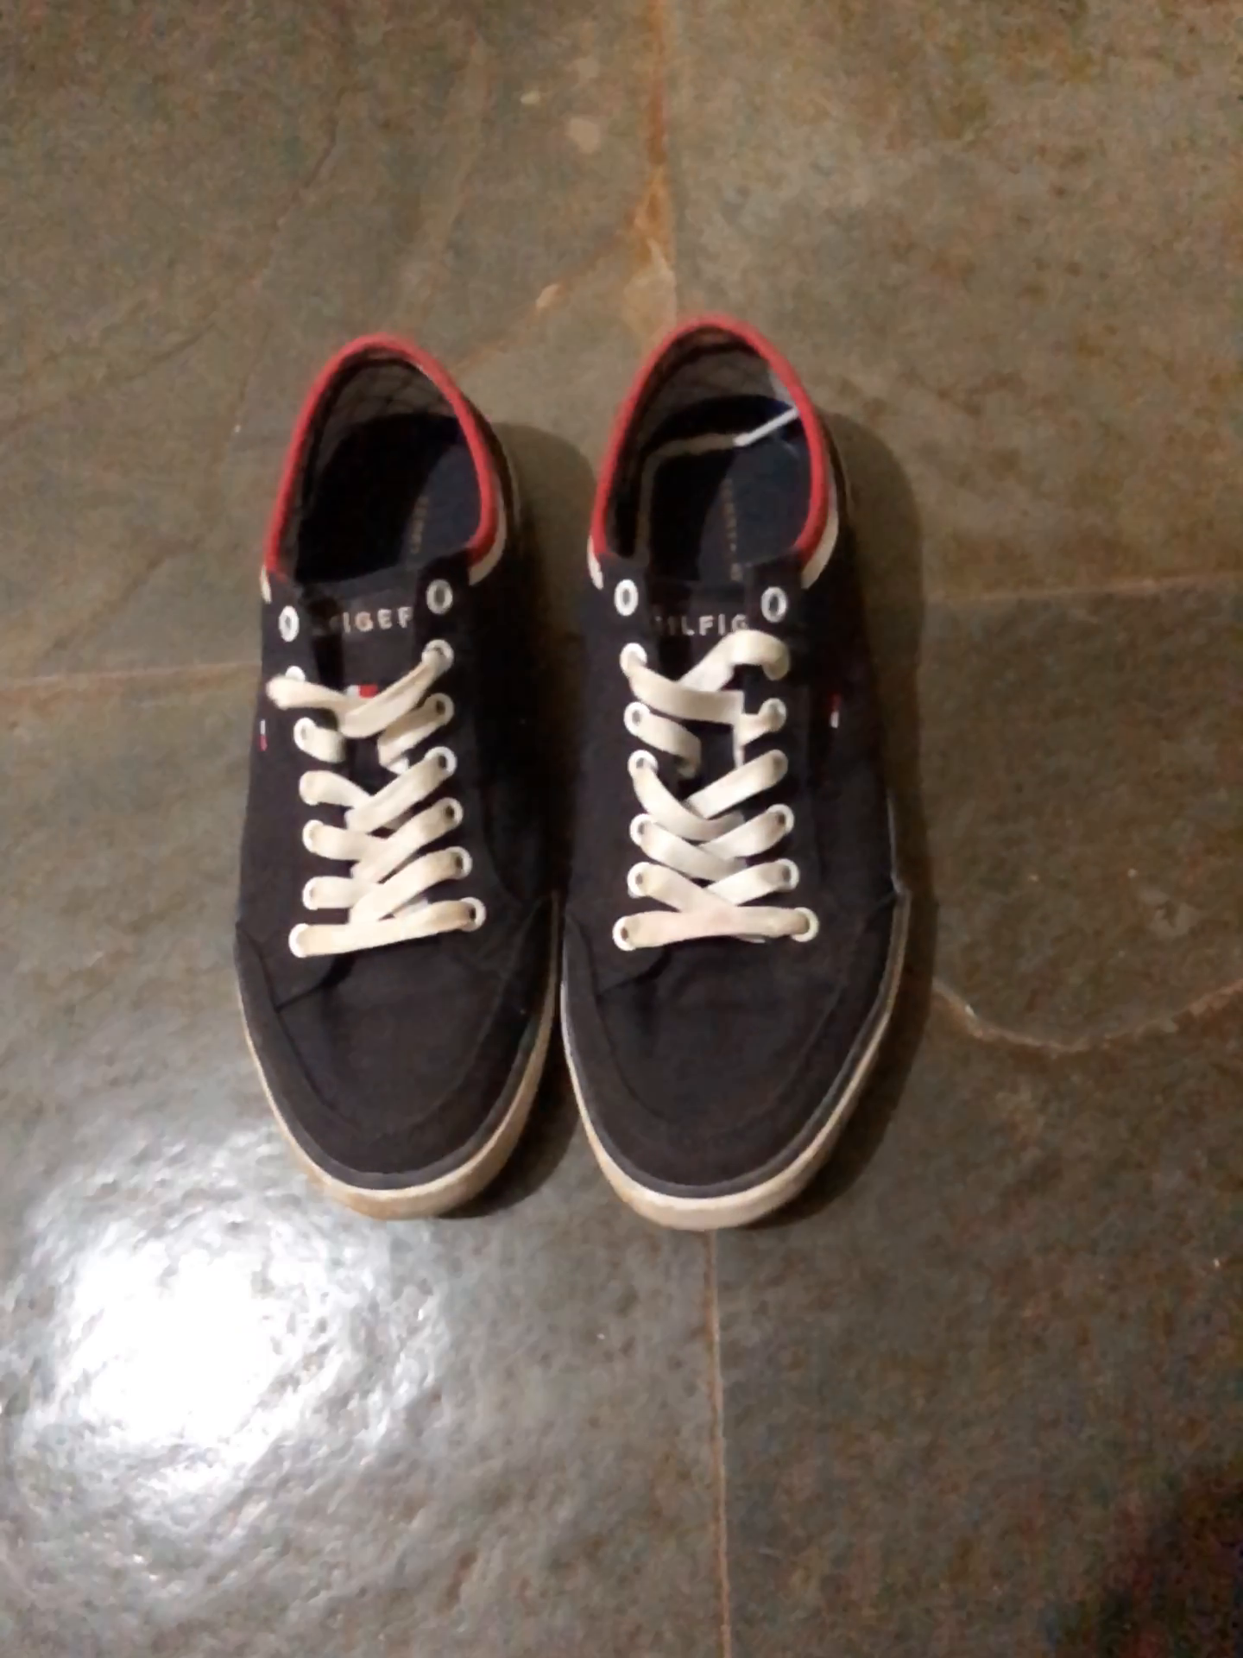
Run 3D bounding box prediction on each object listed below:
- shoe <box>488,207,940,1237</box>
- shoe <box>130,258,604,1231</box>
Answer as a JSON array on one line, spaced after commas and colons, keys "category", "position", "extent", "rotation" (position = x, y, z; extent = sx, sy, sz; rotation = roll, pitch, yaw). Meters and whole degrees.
[{"category": "shoe", "position": [0.032, -0.033, 0.430], "extent": [0.110, 0.100, 0.301], "rotation": [-1, 71, 8]}, {"category": "shoe", "position": [-0.072, -0.025, 0.446], "extent": [0.110, 0.100, 0.291], "rotation": [-5, 71, 6]}]
